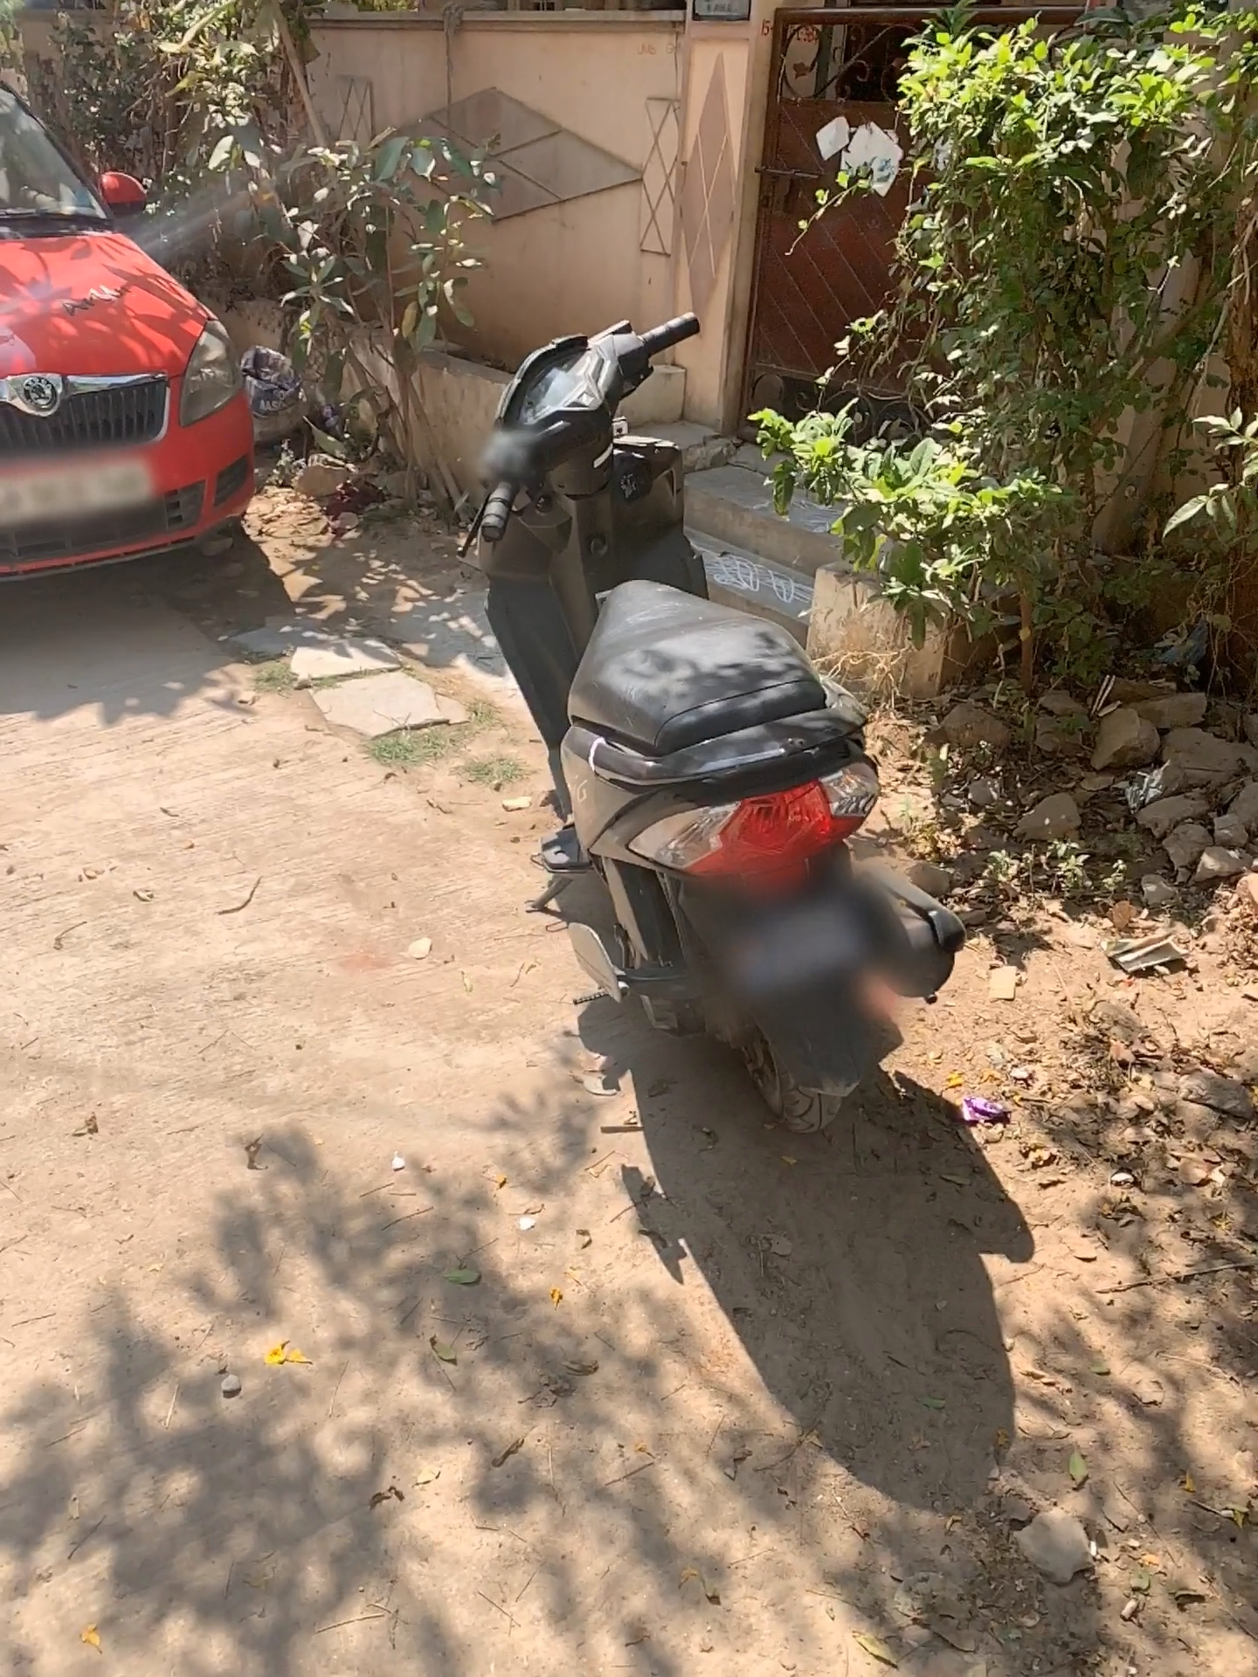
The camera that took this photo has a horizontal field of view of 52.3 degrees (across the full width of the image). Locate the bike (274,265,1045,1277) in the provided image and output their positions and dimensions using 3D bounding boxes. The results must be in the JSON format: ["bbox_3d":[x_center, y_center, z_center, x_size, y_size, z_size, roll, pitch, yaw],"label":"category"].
[{"bbox_3d":[-0.139,-0.268,2.289,0.624,1.174,1.534,-8,32,-20],"label":"bike"}]
